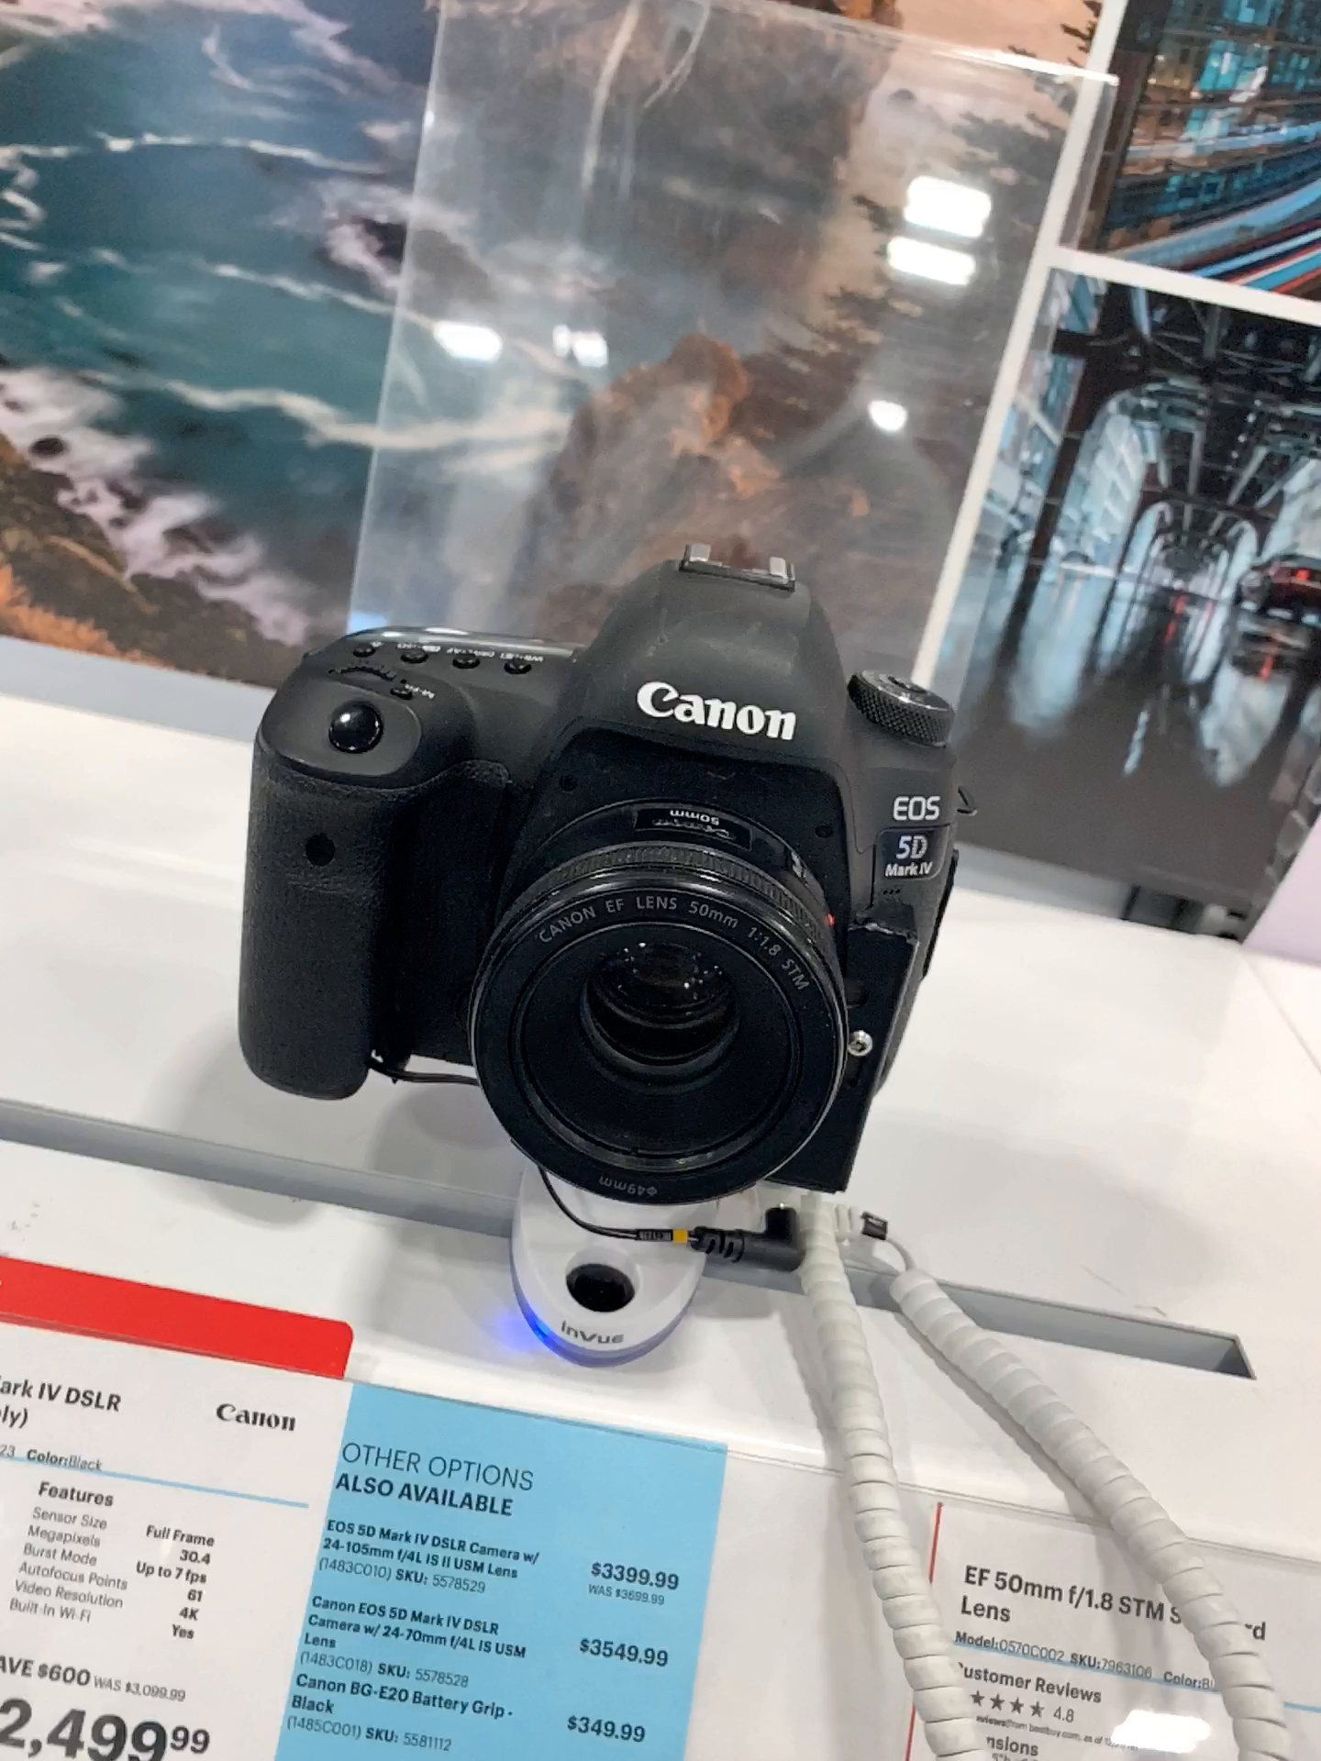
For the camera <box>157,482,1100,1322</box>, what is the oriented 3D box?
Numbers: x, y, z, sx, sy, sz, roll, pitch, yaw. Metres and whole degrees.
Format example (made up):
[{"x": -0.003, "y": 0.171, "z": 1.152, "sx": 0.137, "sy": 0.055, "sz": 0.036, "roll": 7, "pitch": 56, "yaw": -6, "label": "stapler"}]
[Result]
[{"x": -0.009, "y": -0.004, "z": 0.277, "sx": 0.140, "sy": 0.106, "sz": 0.112, "roll": 11, "pitch": 25, "yaw": -1, "label": "camera"}]
